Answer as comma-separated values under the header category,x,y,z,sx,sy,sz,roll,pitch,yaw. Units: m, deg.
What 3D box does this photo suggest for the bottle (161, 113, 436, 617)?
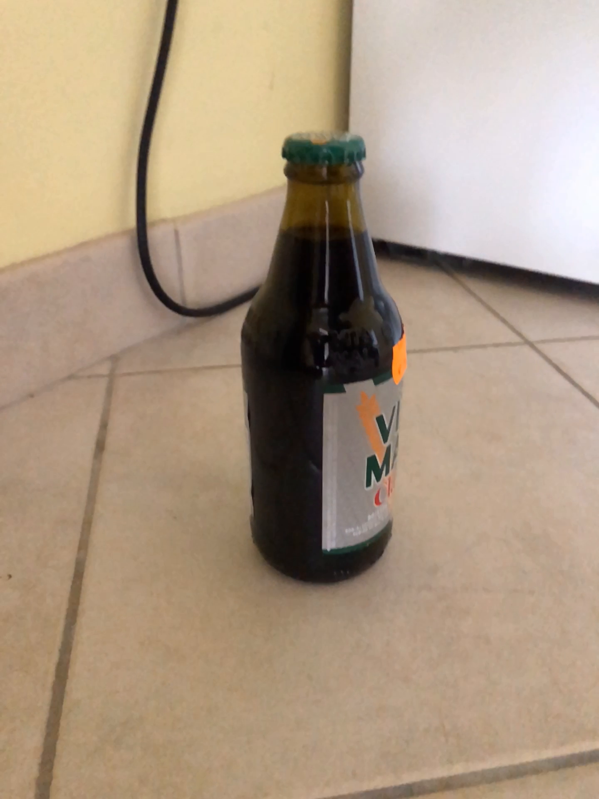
category,x,y,z,sx,sy,sz,roll,pitch,yaw
bottle,0.003,-0.012,0.252,0.070,0.169,0.070,0,30,0
